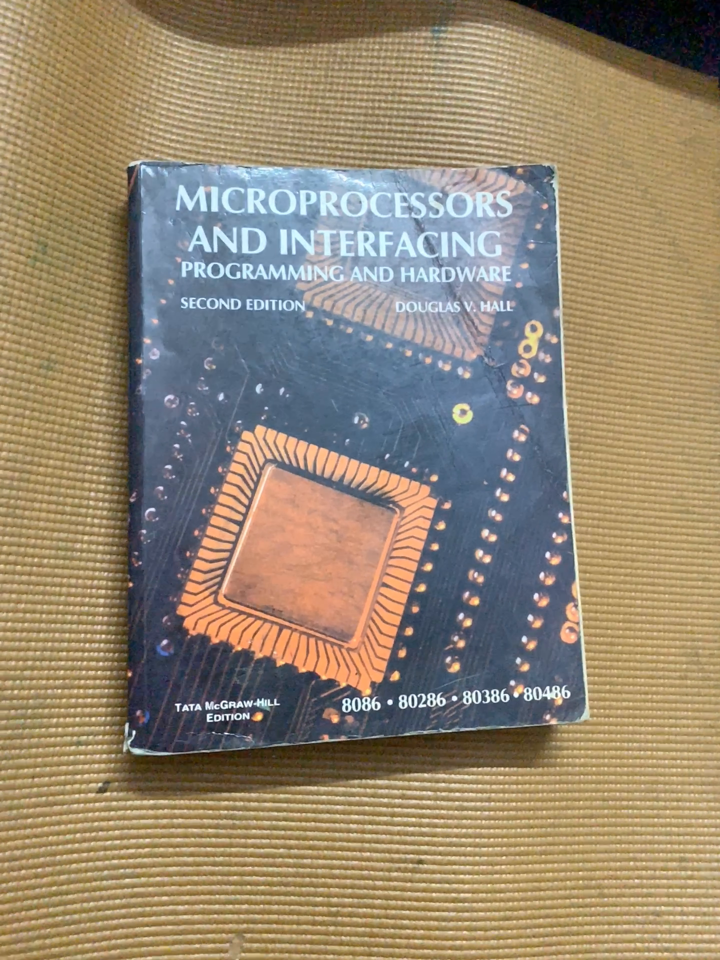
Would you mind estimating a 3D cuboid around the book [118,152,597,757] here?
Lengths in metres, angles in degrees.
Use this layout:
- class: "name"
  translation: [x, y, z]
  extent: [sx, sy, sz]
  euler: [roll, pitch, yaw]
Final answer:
- class: "book"
  translation: [-0.004, -0.021, 0.450]
  extent: [0.259, 0.060, 0.339]
  euler: [-1, 83, -5]
